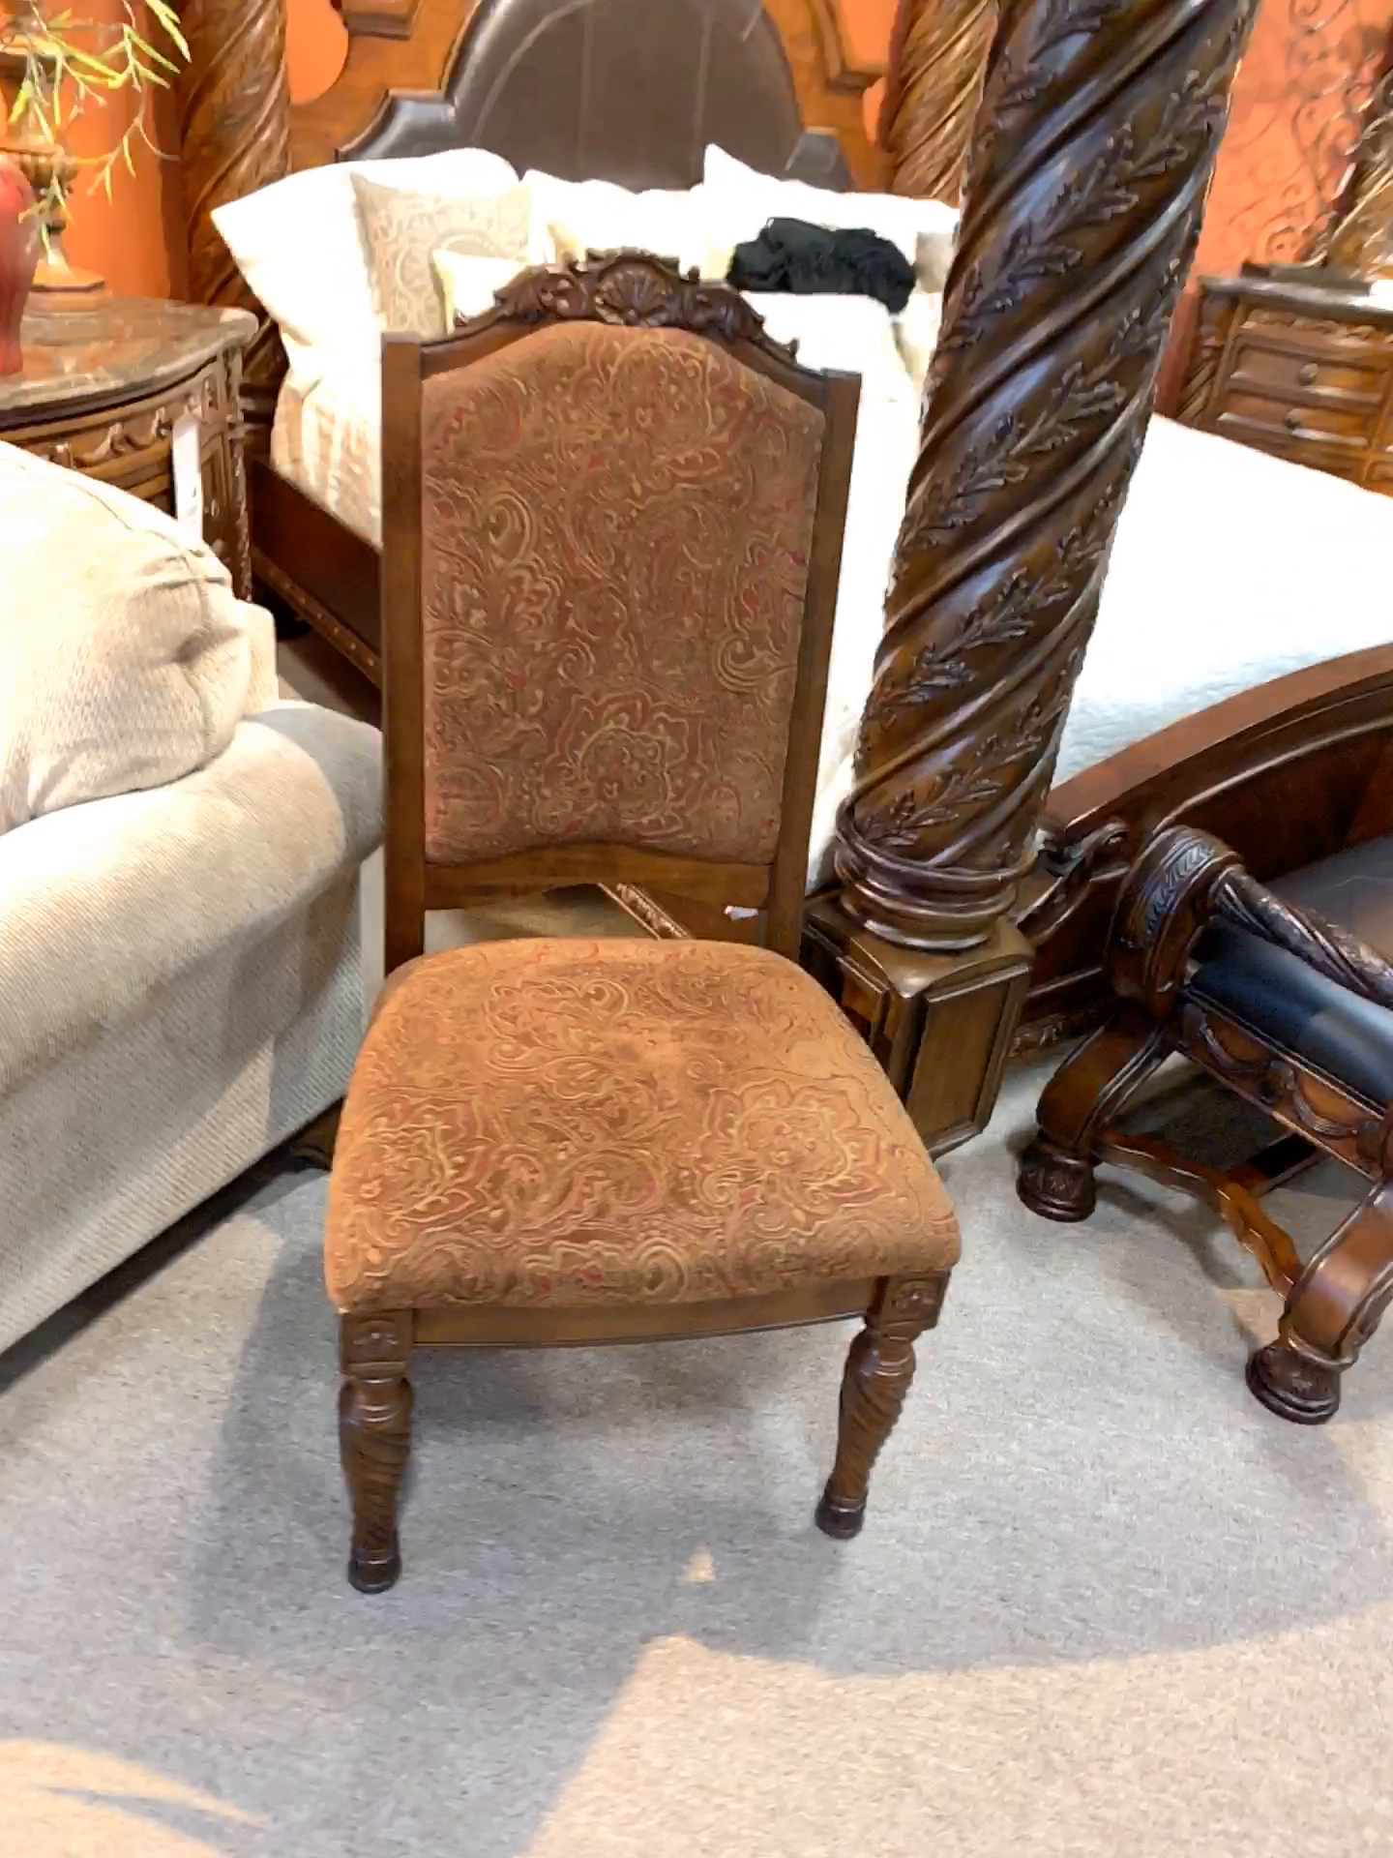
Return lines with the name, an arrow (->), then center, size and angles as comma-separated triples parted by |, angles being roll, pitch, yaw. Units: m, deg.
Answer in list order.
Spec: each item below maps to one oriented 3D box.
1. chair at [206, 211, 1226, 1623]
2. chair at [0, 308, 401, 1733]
chair -> -0.082, 0.005, 1.364 | 0.590, 1.123, 0.641 | 0, 33, -12
chair -> -0.940, -0.044, 1.445 | 0.881, 0.864, 0.901 | 21, 35, 21
